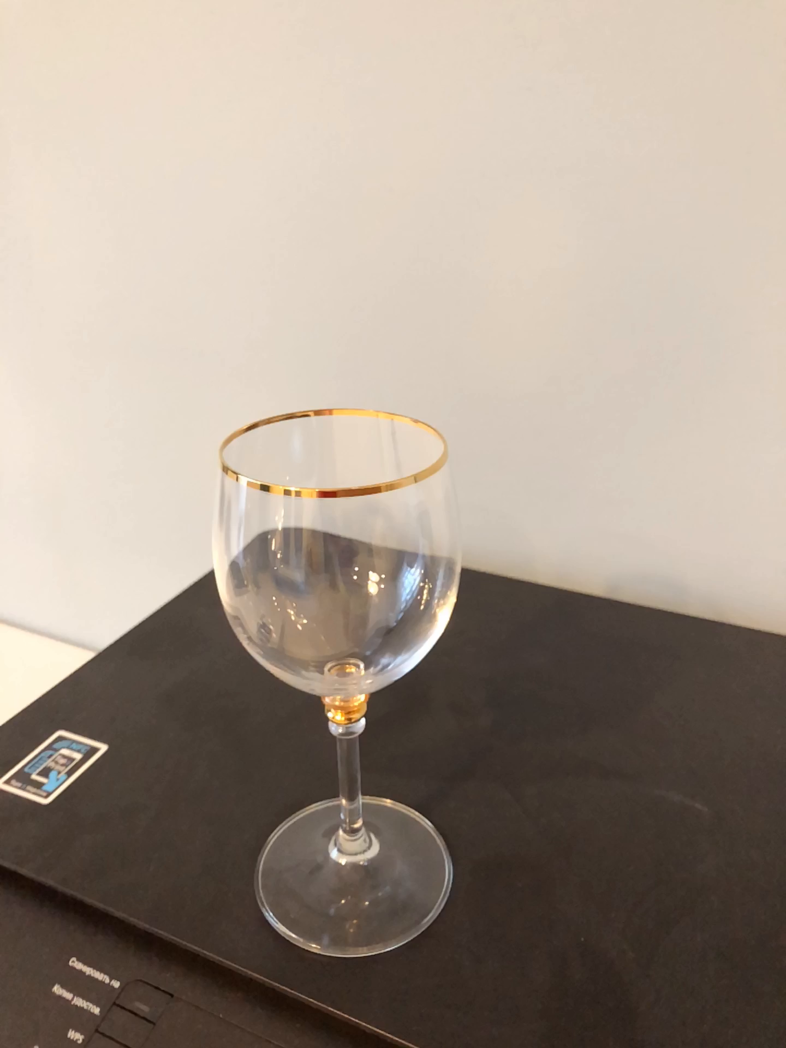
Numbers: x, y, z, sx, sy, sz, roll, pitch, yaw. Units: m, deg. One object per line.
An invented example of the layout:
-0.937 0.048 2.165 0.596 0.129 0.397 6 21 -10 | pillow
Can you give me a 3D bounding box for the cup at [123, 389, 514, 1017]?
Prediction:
-0.019 0.056 0.304 0.086 0.177 0.087 0 24 0 | cup
